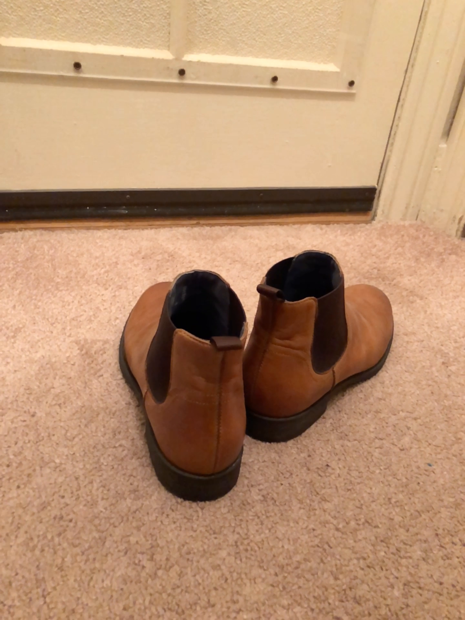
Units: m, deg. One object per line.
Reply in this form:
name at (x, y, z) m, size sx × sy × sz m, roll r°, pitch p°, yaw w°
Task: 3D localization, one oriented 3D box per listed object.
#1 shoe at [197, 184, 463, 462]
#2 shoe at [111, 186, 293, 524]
shoe at (0.114, -0.011, 0.550) m, size 0.109 × 0.165 × 0.313 m, roll 28°, pitch 37°, yaw 30°
shoe at (-0.056, 0.012, 0.501) m, size 0.109 × 0.165 × 0.314 m, roll -2°, pitch 33°, yaw -14°
